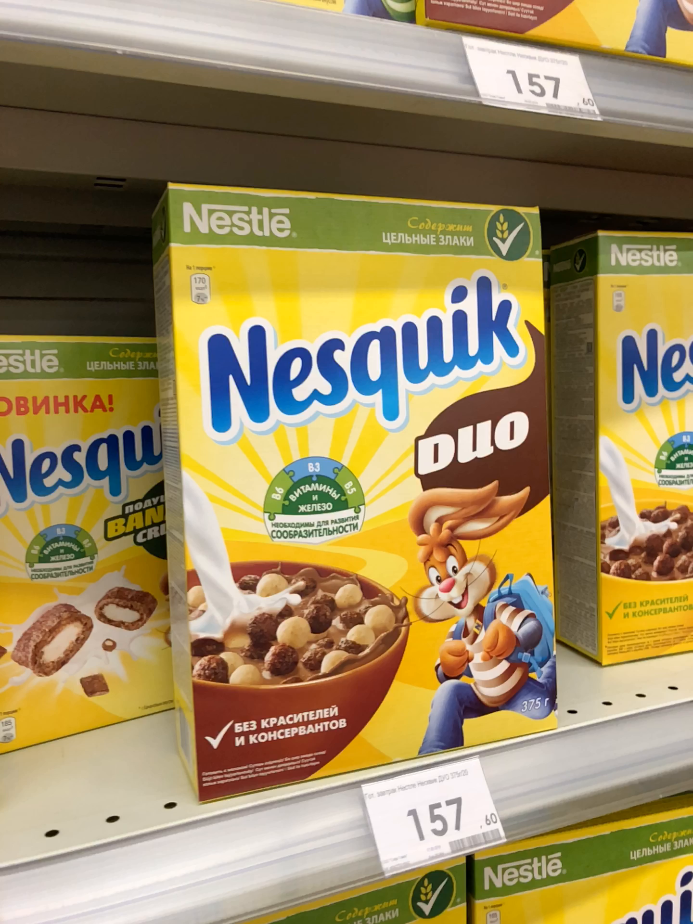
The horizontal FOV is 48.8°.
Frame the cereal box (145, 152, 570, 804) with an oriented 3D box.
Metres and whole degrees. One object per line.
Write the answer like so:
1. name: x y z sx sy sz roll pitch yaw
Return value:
1. cereal box: 0.009 0.003 0.390 0.200 0.280 0.060 -3 2 -20
